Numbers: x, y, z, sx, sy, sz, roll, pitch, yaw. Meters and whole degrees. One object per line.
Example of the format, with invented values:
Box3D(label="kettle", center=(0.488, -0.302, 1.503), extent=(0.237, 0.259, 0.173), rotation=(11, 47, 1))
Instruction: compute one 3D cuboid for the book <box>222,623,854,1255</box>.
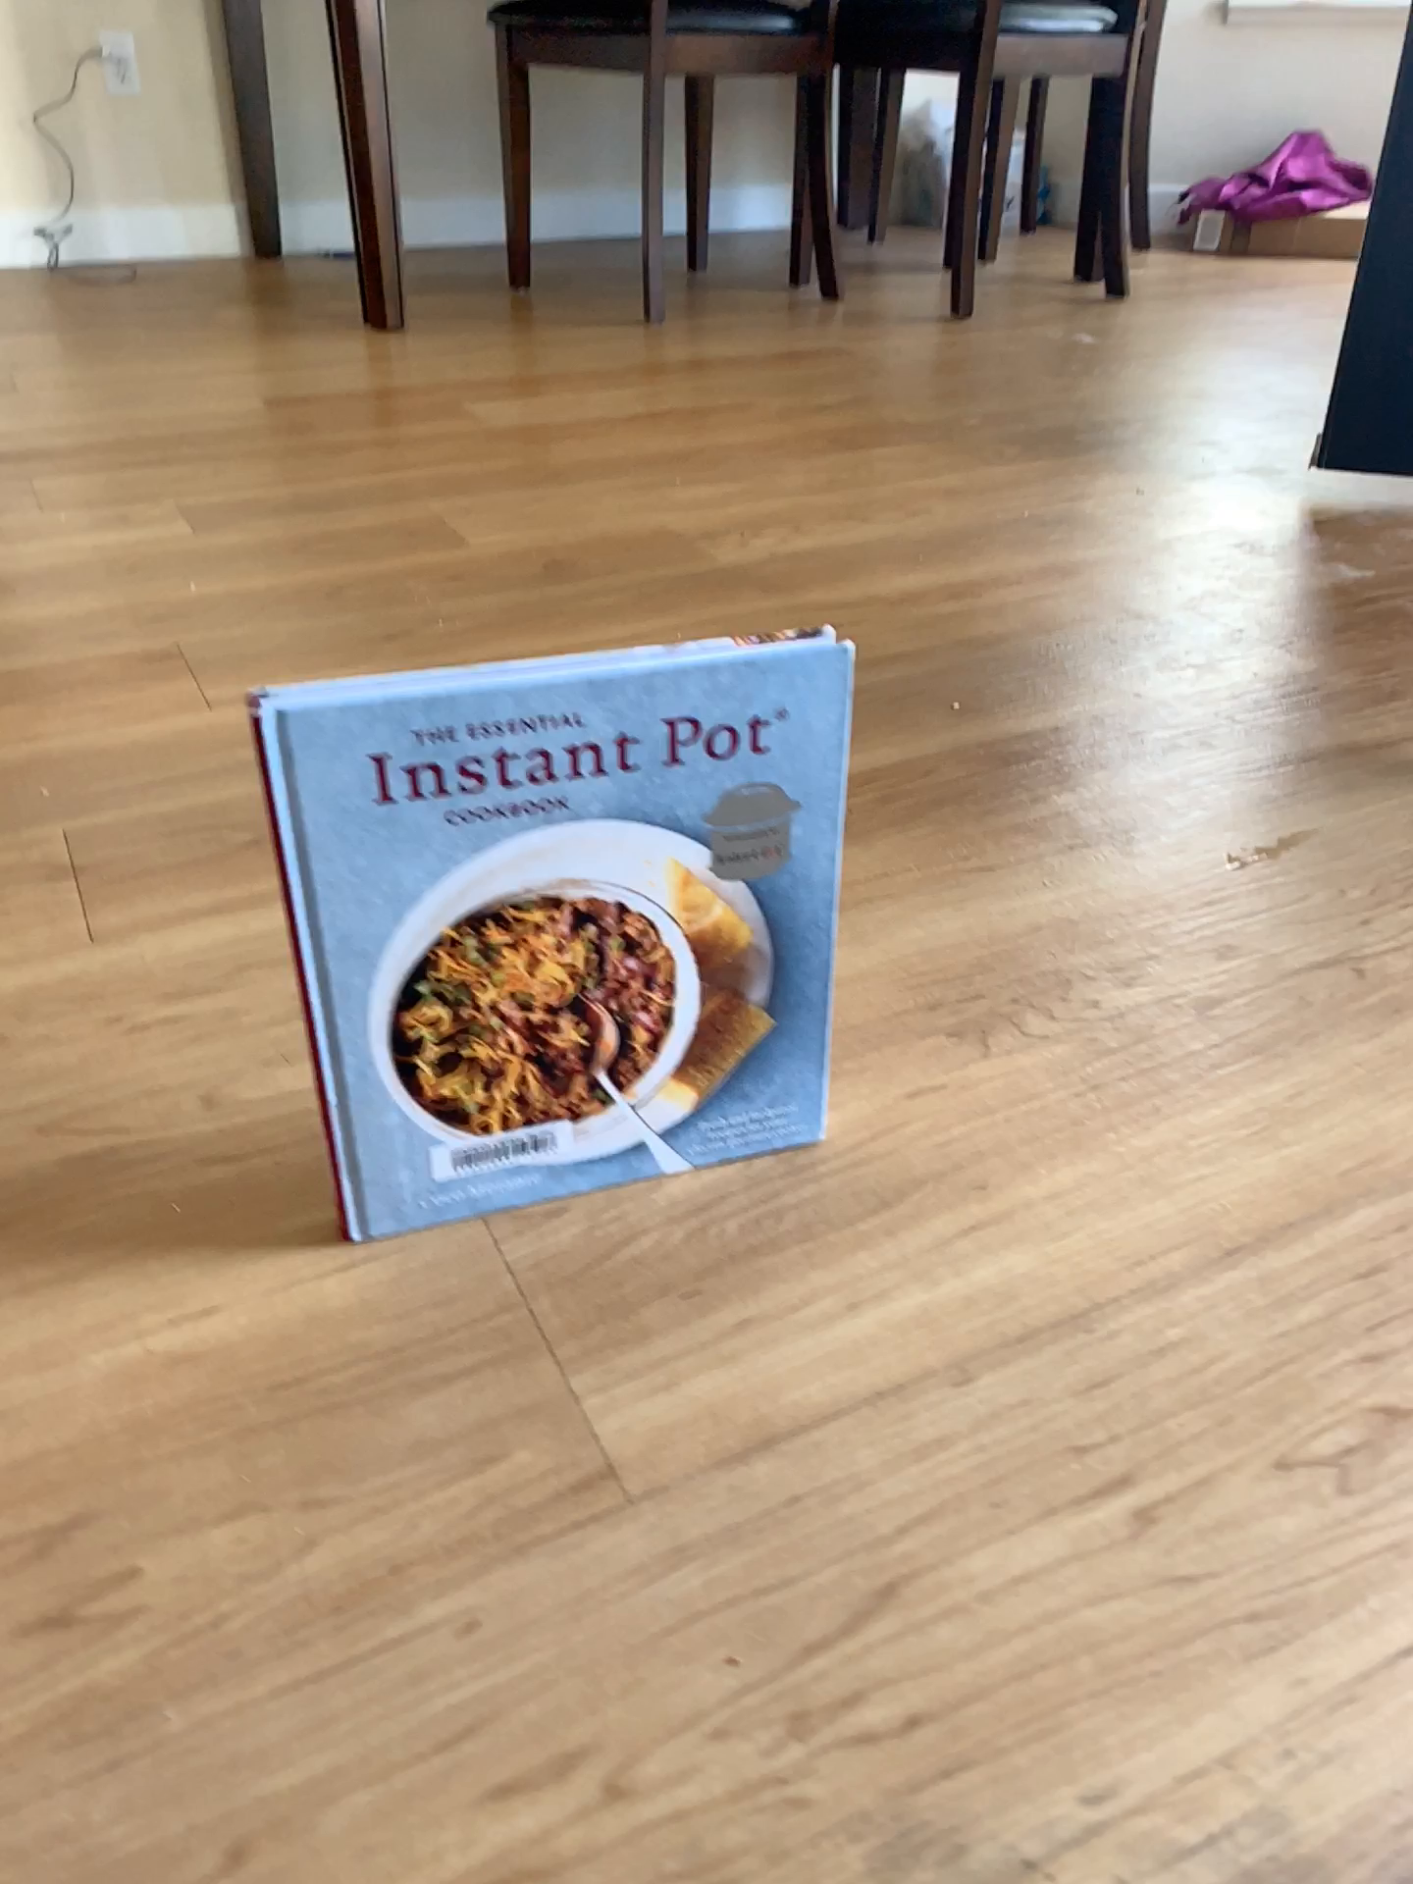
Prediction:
Box3D(label="book", center=(-0.057, 0.002, 0.590), extent=(0.230, 0.239, 0.030), rotation=(-10, 31, -16))
